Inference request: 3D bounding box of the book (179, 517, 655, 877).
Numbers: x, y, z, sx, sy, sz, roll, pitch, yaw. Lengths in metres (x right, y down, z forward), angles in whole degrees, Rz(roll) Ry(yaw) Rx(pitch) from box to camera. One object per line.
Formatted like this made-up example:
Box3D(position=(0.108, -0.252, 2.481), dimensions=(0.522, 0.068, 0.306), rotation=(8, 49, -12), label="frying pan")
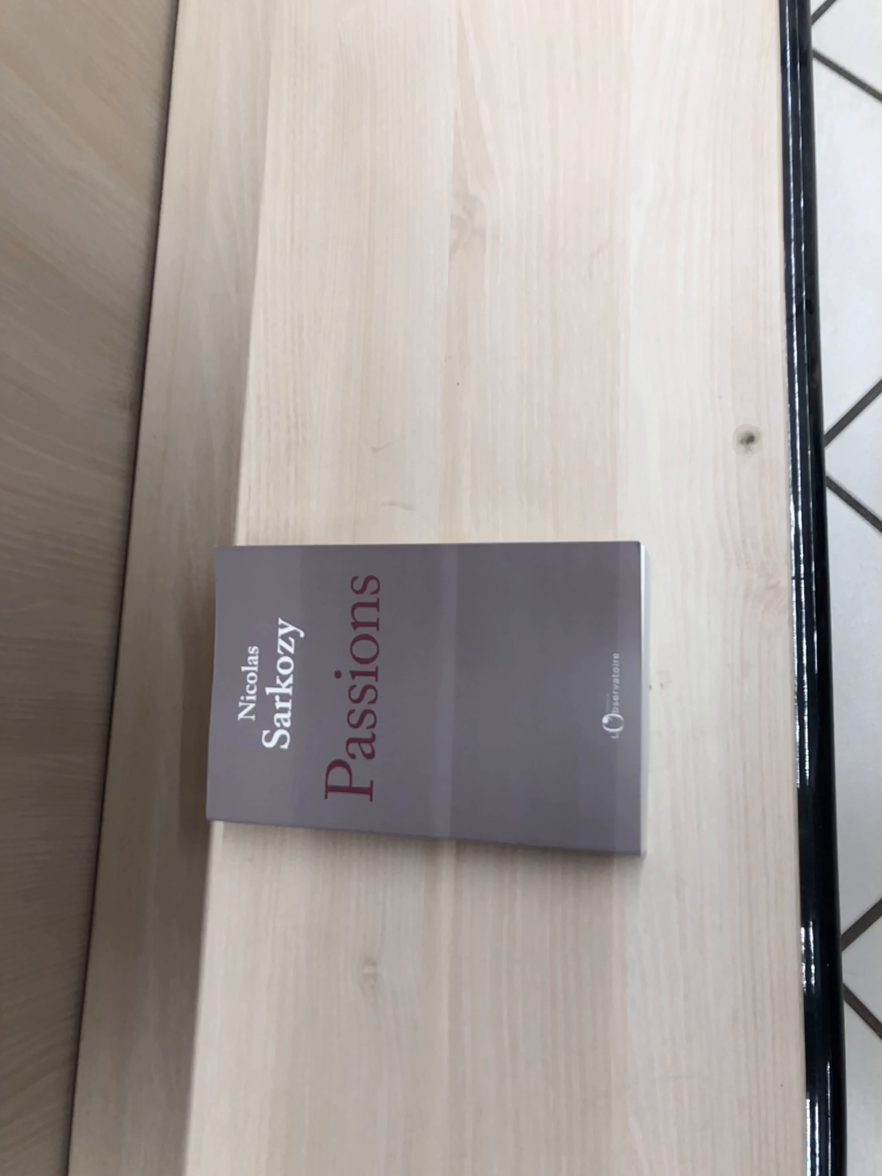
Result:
Box3D(position=(-0.011, 0.050, 0.471), dimensions=(0.224, 0.044, 0.157), rotation=(-1, 80, 16), label="book")
